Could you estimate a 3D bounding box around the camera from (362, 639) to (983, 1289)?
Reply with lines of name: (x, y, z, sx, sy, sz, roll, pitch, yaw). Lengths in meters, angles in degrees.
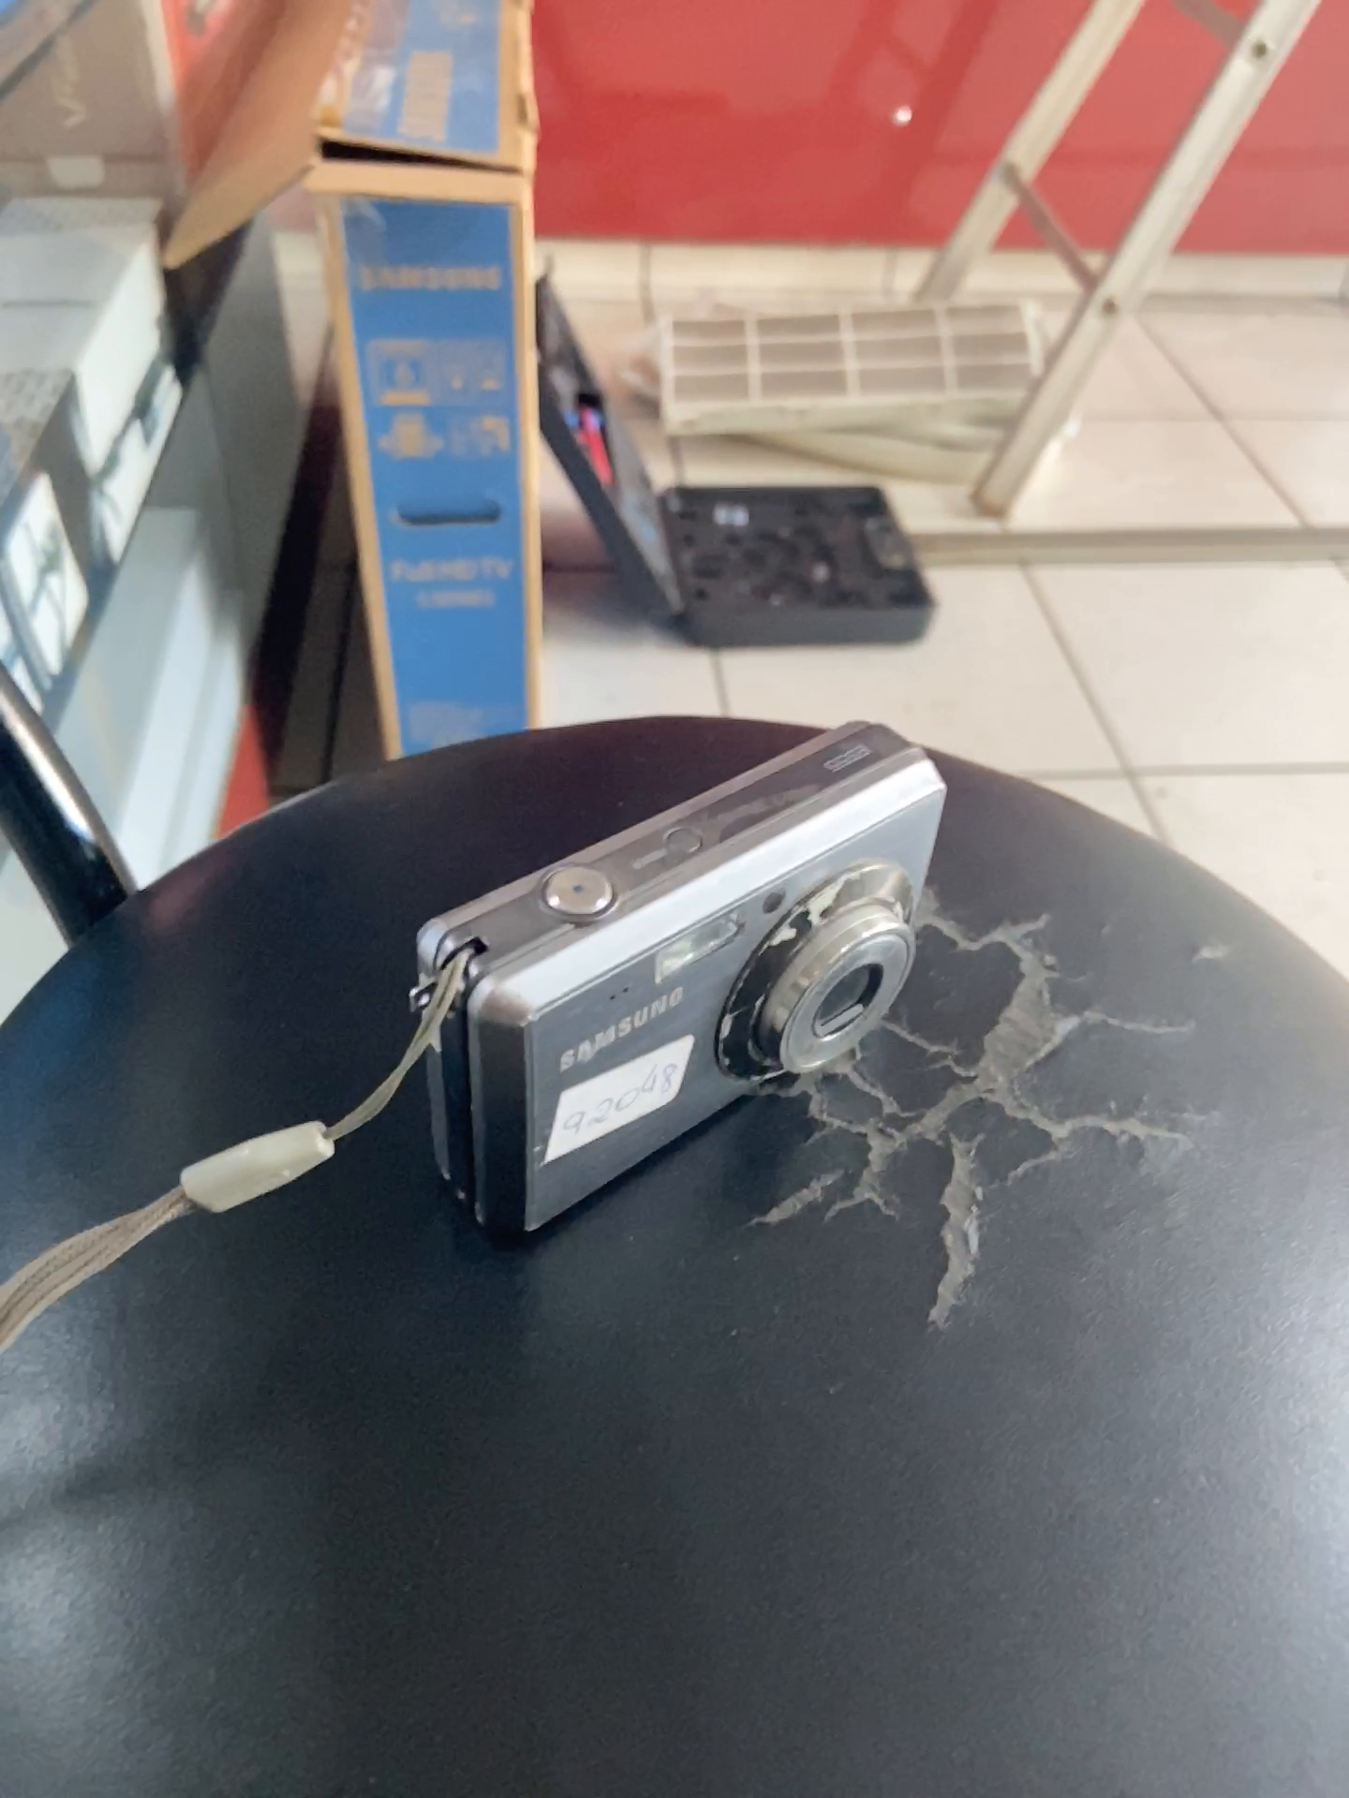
camera: (0.000, 0.009, 0.239, 0.090, 0.070, 0.040, -28, 52, -29)
